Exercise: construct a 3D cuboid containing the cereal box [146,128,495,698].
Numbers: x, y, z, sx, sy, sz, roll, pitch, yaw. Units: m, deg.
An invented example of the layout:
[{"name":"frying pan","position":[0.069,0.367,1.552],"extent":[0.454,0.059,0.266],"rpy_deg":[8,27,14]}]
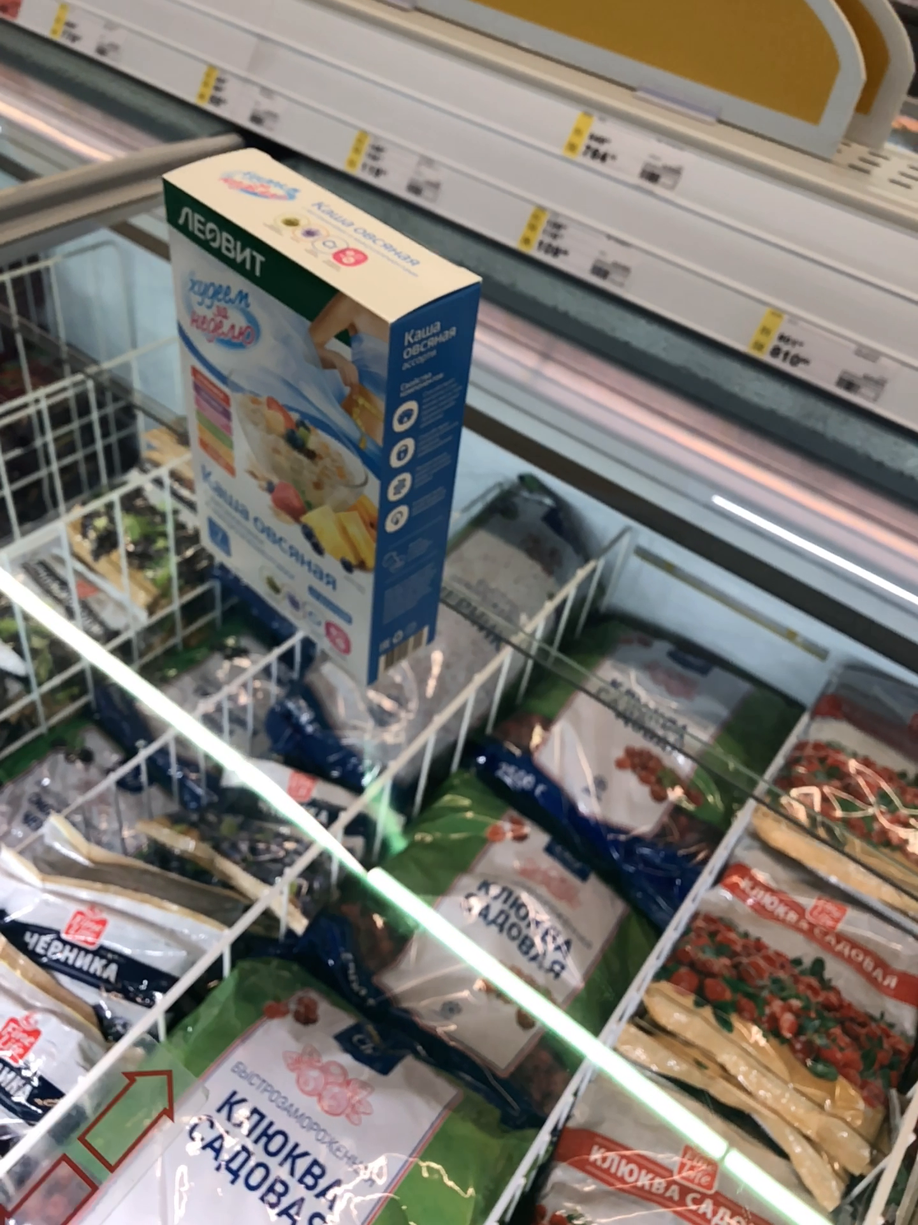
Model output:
[{"name":"cereal box","position":[-0.071,-0.089,0.504],"extent":[0.150,0.228,0.060],"rpy_deg":[38,53,26]}]
